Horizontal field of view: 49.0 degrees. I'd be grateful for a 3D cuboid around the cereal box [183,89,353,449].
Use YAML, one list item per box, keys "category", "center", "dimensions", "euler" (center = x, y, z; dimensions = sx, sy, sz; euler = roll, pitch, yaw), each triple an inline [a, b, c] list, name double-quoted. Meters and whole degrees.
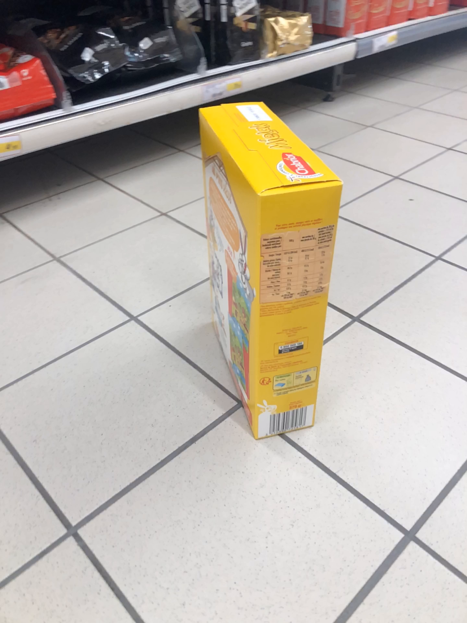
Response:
- category: "cereal box"
  center: [0.018, -0.043, 0.485]
  dimensions: [0.070, 0.258, 0.211]
  euler: [-11, 39, -12]
